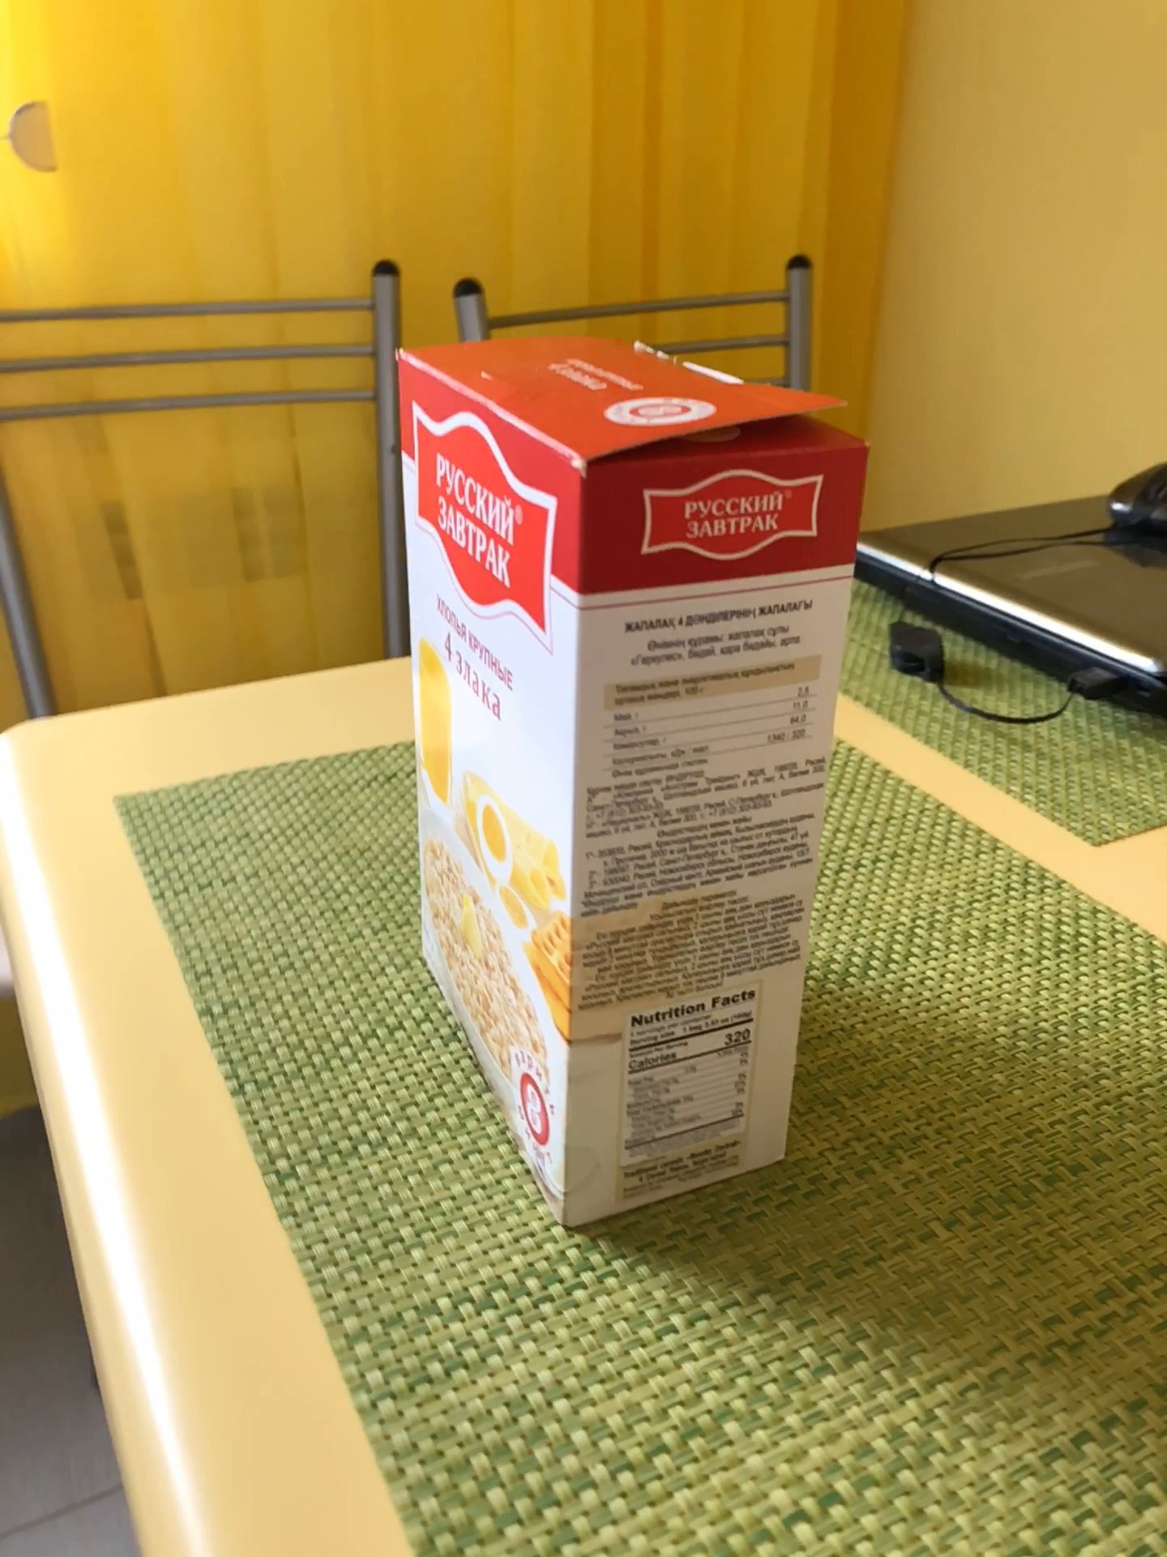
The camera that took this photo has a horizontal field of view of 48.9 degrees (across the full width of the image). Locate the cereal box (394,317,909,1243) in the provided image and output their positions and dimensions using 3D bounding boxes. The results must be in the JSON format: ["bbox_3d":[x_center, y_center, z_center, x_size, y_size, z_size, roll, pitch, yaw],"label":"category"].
[{"bbox_3d":[0.006,-0.007,0.340,0.070,0.199,0.131,-10,29,-20],"label":"cereal box"}]
